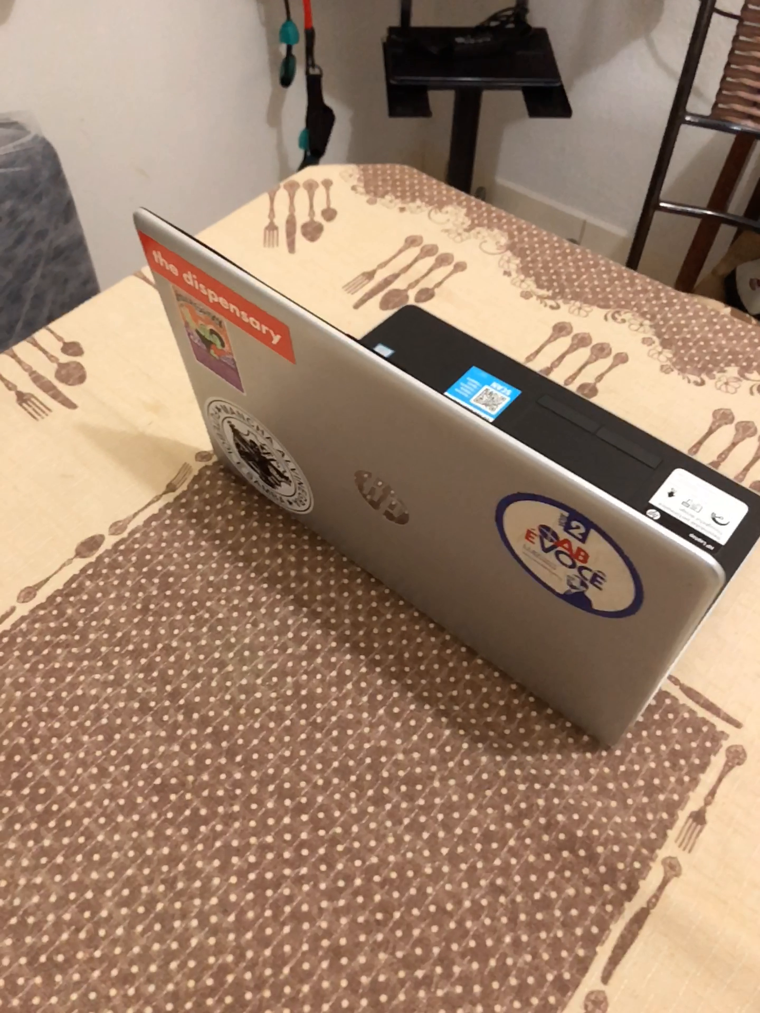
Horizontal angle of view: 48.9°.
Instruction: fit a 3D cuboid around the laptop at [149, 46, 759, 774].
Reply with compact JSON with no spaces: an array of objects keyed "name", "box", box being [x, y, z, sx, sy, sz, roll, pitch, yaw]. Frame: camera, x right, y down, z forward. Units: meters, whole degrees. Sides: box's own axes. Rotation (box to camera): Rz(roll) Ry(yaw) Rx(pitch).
[{"name":"laptop","box":[0.089,-0.083,0.551,0.360,0.226,0.268,34,59,23]}]
